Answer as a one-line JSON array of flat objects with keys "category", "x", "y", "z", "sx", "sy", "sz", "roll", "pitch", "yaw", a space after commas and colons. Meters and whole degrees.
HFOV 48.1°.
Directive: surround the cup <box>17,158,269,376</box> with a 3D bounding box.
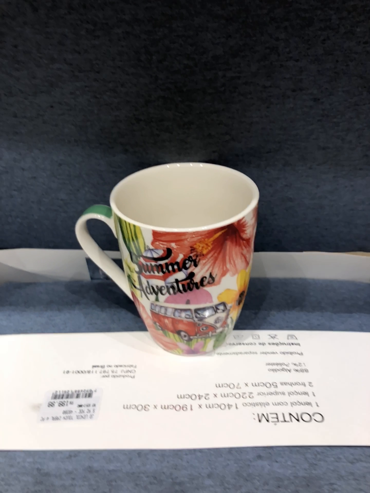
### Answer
[{"category": "cup", "x": -0.016, "y": 0.007, "z": 0.241, "sx": 0.110, "sy": 0.090, "sz": 0.090, "roll": 1, "pitch": 30, "yaw": 3}]
